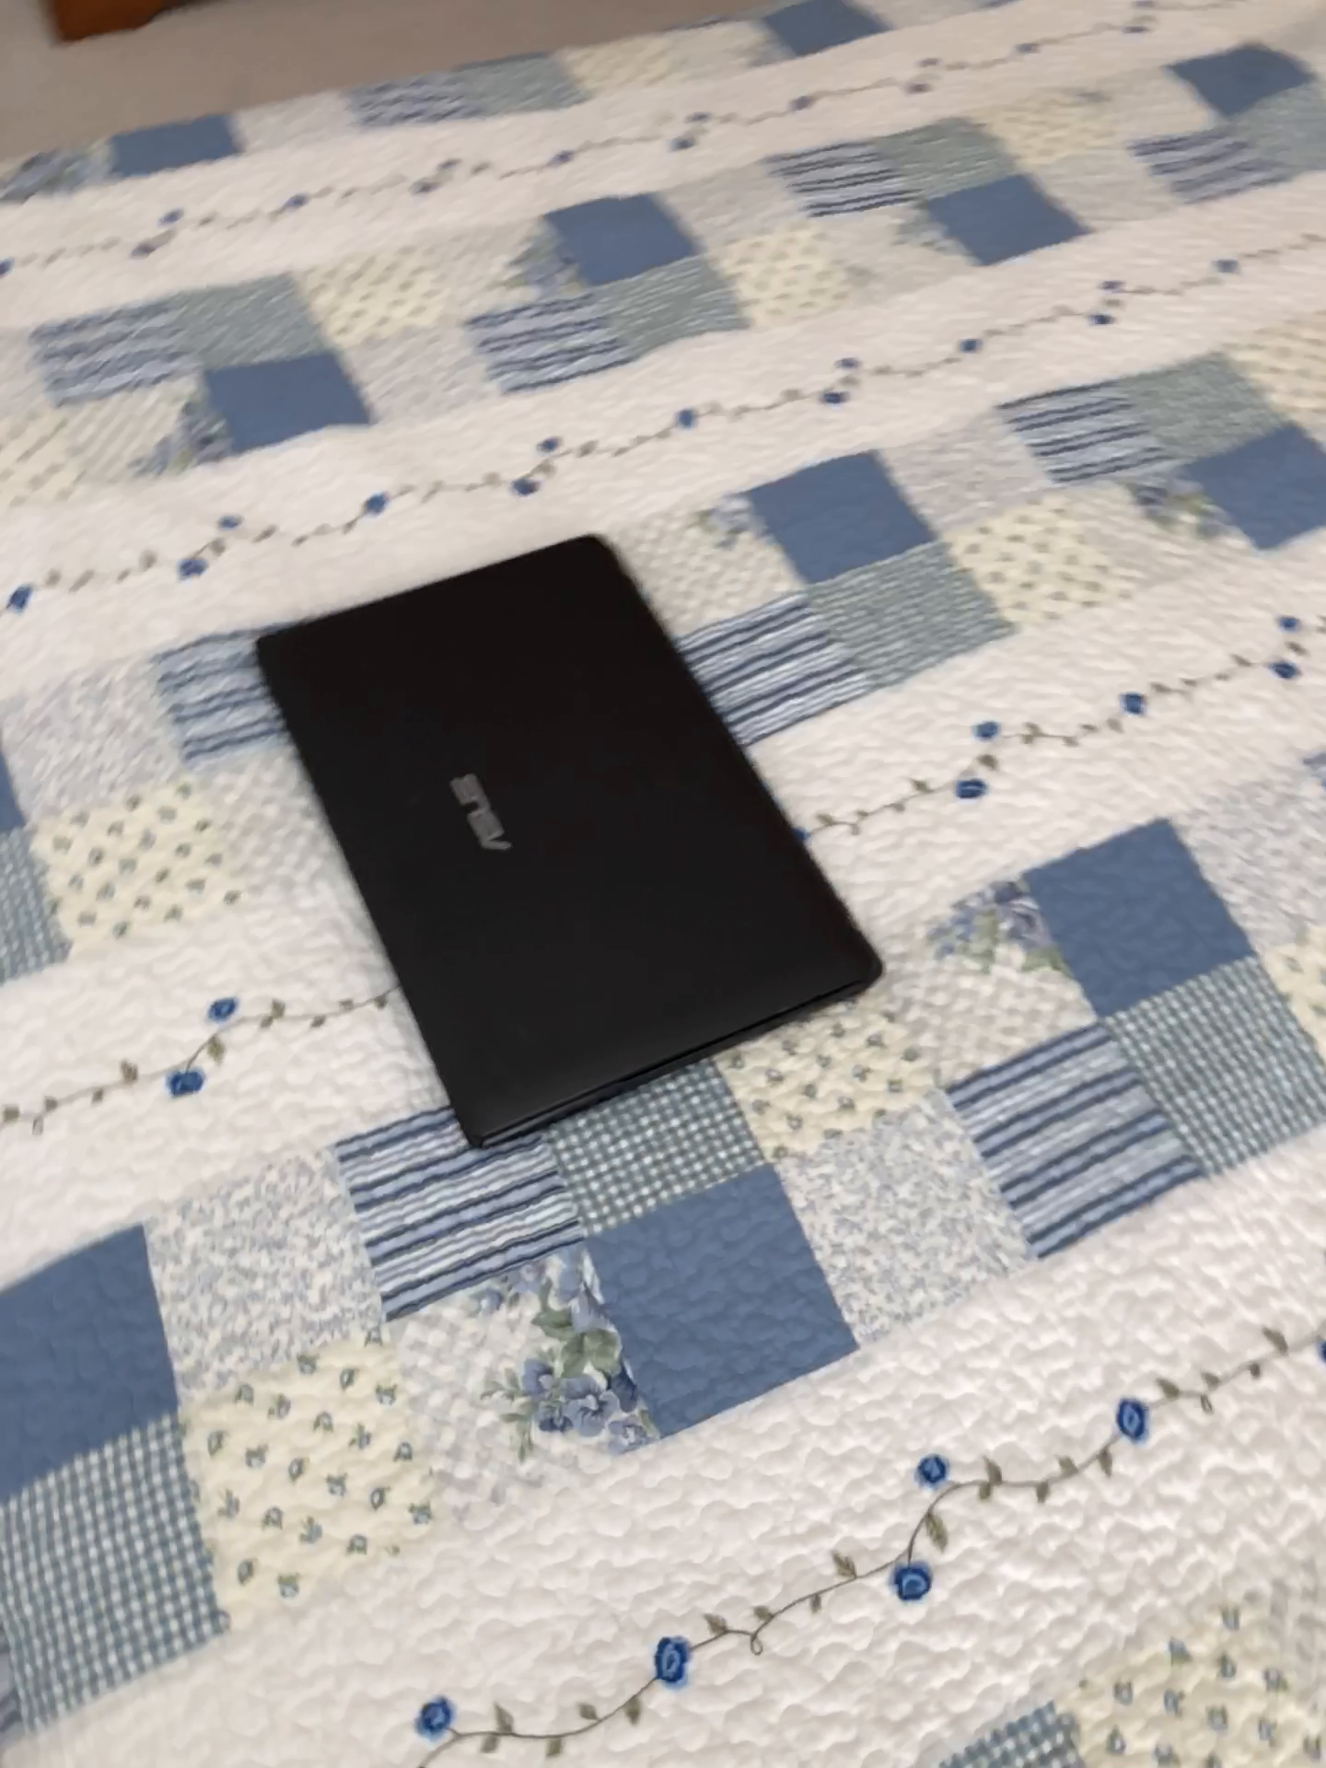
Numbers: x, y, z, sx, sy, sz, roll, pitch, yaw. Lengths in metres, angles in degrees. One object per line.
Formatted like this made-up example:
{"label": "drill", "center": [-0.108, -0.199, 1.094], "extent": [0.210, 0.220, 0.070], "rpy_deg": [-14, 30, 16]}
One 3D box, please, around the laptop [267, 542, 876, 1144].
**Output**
{"label": "laptop", "center": [-0.067, -0.049, 0.865], "extent": [0.235, 0.006, 0.369], "rpy_deg": [-21, 59, -15]}
